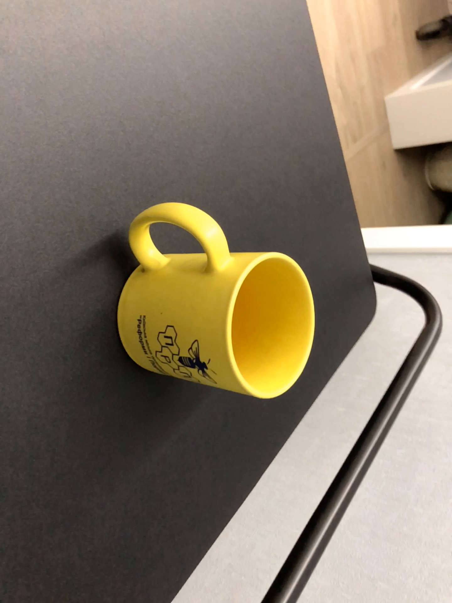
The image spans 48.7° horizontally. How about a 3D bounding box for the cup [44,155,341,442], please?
[{"bbox_3d":[-0.013,-0.002,0.300,0.090,0.101,0.125,-52,129,-32],"label":"cup"}]
